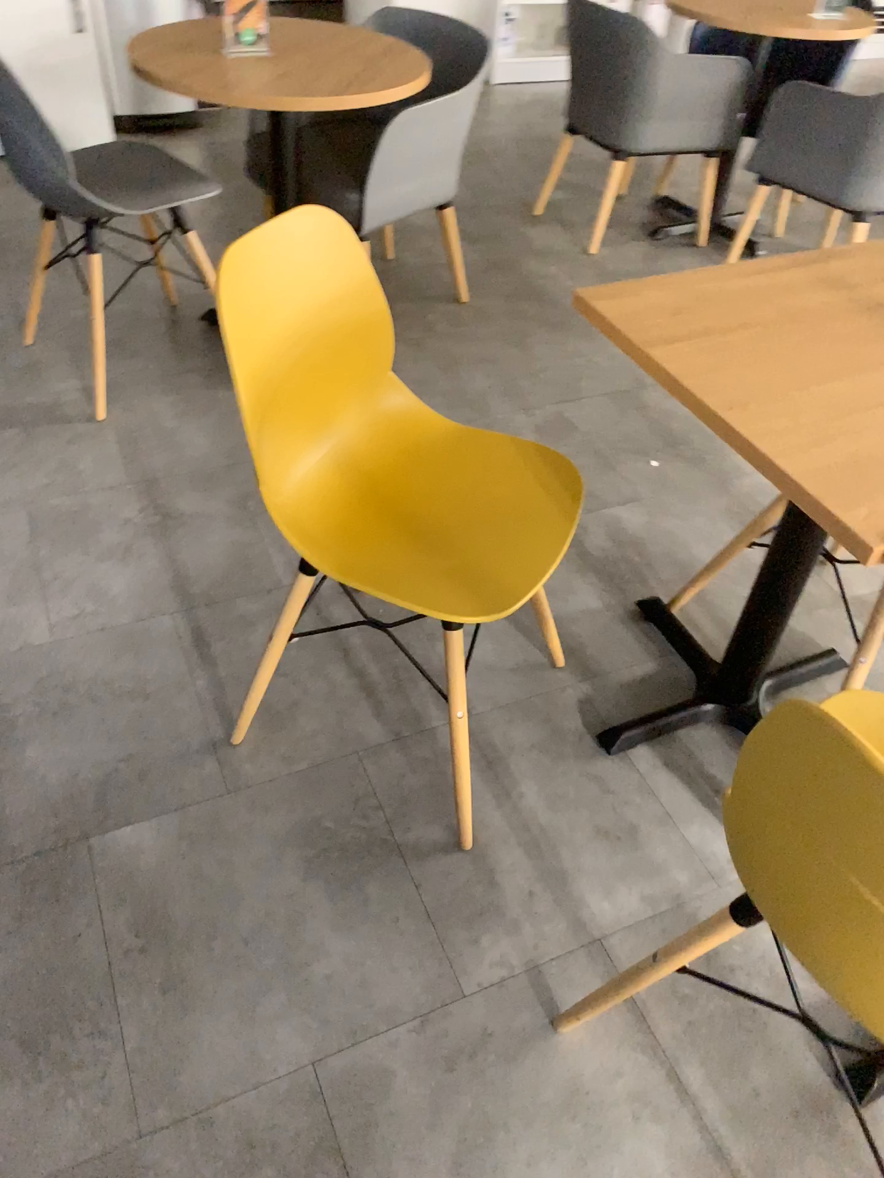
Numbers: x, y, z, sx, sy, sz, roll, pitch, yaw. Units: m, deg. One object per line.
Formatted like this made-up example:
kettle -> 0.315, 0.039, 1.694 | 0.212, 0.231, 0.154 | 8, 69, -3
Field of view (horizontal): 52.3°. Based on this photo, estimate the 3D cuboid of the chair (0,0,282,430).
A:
chair -> -0.780, -0.920, 2.163 | 0.541, 0.781, 0.519 | -31, 54, -33

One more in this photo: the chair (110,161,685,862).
chair -> -0.049, -0.113, 1.362 | 0.519, 0.781, 0.520 | 21, 45, 16

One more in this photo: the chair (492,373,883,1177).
chair -> 0.464, 0.302, 0.969 | 0.531, 0.781, 0.519 | -28, 52, -31
